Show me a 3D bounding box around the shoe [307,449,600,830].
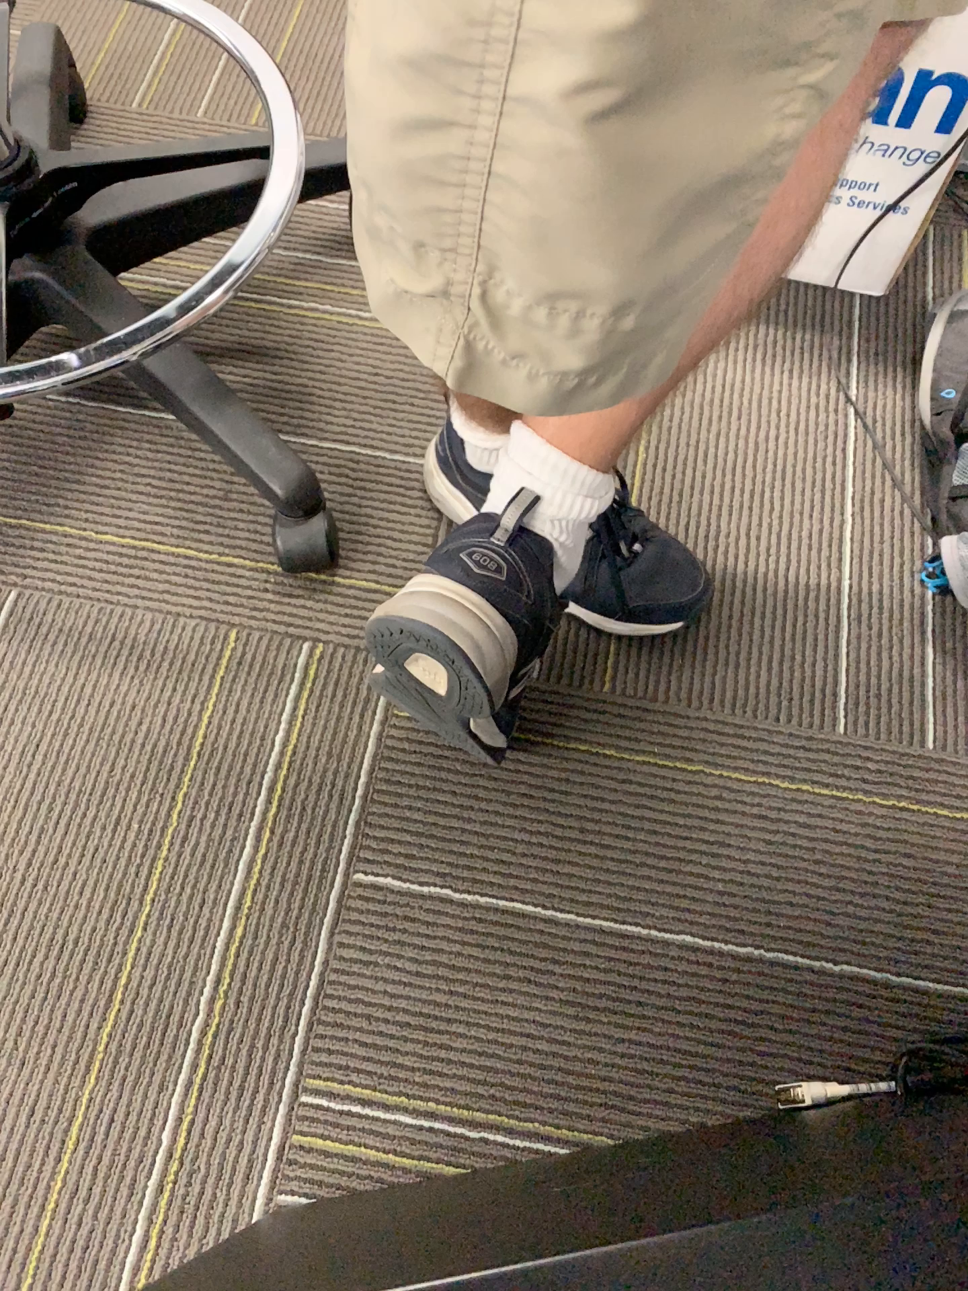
[{"bbox_3d":[-0.016,0.015,0.715,0.122,0.293,0.129,30,70,12],"label":"shoe"}]

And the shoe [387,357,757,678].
[{"bbox_3d":[0.070,-0.115,0.864,0.297,0.077,0.120,36,70,14],"label":"shoe"}]
